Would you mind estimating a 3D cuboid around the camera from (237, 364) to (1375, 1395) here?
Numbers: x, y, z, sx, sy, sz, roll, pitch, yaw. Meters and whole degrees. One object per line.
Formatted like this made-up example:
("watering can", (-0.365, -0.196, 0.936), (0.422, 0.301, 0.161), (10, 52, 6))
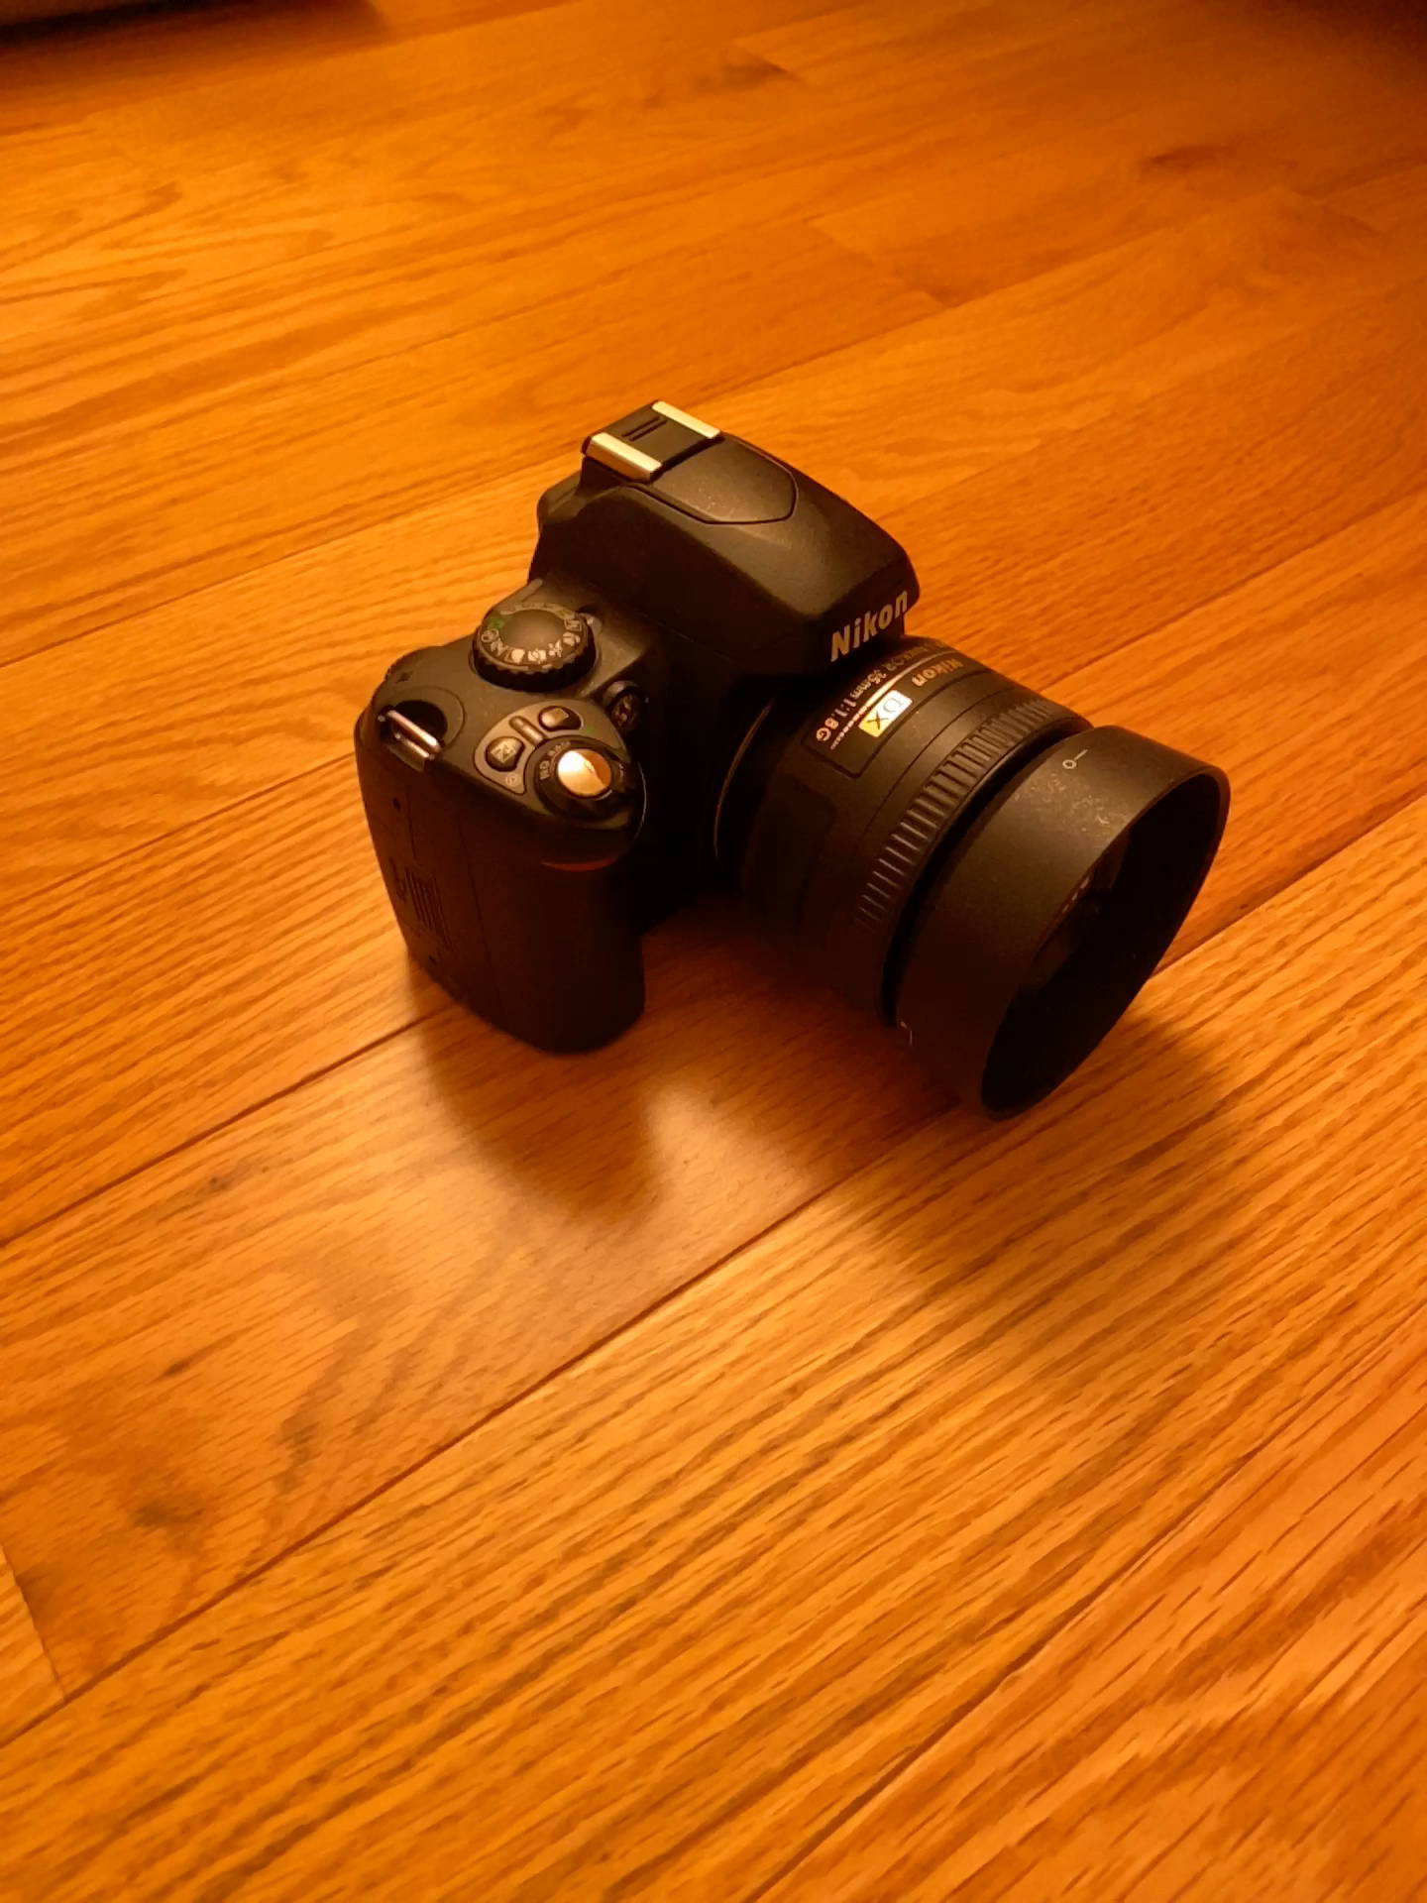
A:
("camera", (0.015, -0.025, 0.278), (0.140, 0.080, 0.130), (37, 59, 27))
